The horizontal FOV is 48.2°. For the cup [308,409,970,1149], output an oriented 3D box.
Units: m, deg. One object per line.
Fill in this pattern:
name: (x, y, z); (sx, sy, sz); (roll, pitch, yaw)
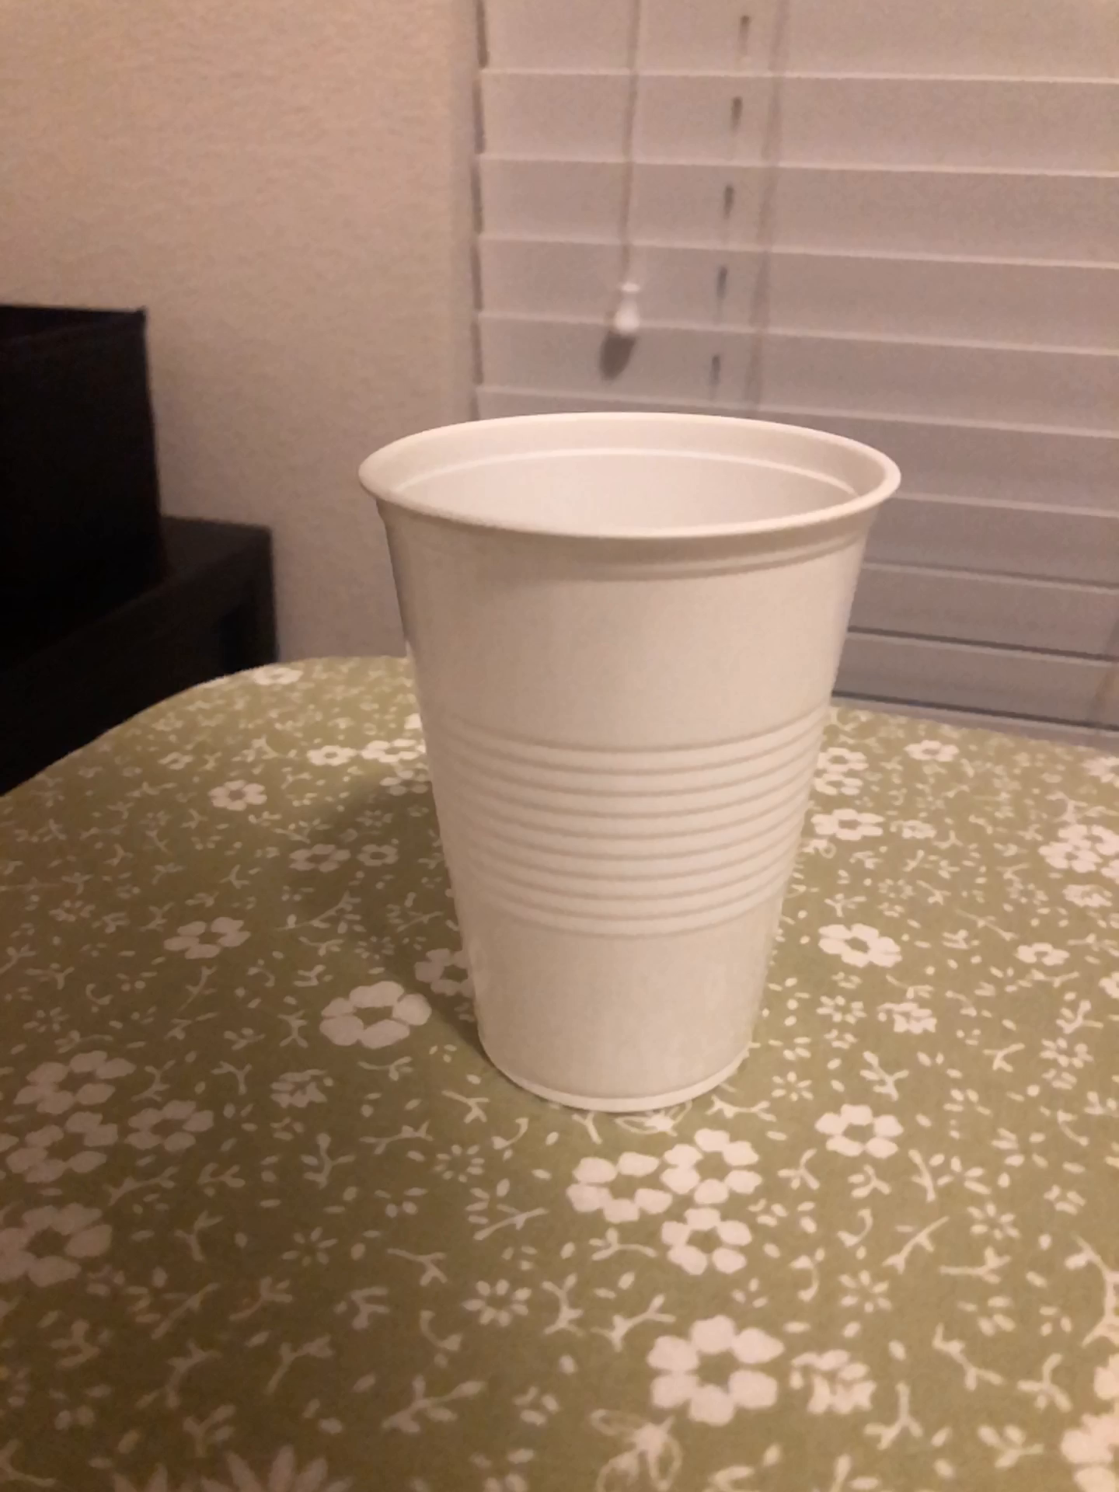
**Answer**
cup: (0.006, -0.001, 0.199); (0.078, 0.090, 0.078); (0, 23, 0)
